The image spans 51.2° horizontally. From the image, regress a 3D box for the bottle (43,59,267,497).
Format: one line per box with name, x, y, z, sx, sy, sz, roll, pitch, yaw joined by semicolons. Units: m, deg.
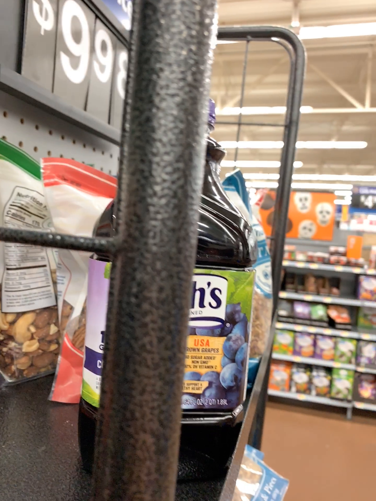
bottle;-0.027;0.020;0.289;0.120;0.260;0.100;4;3;-9
